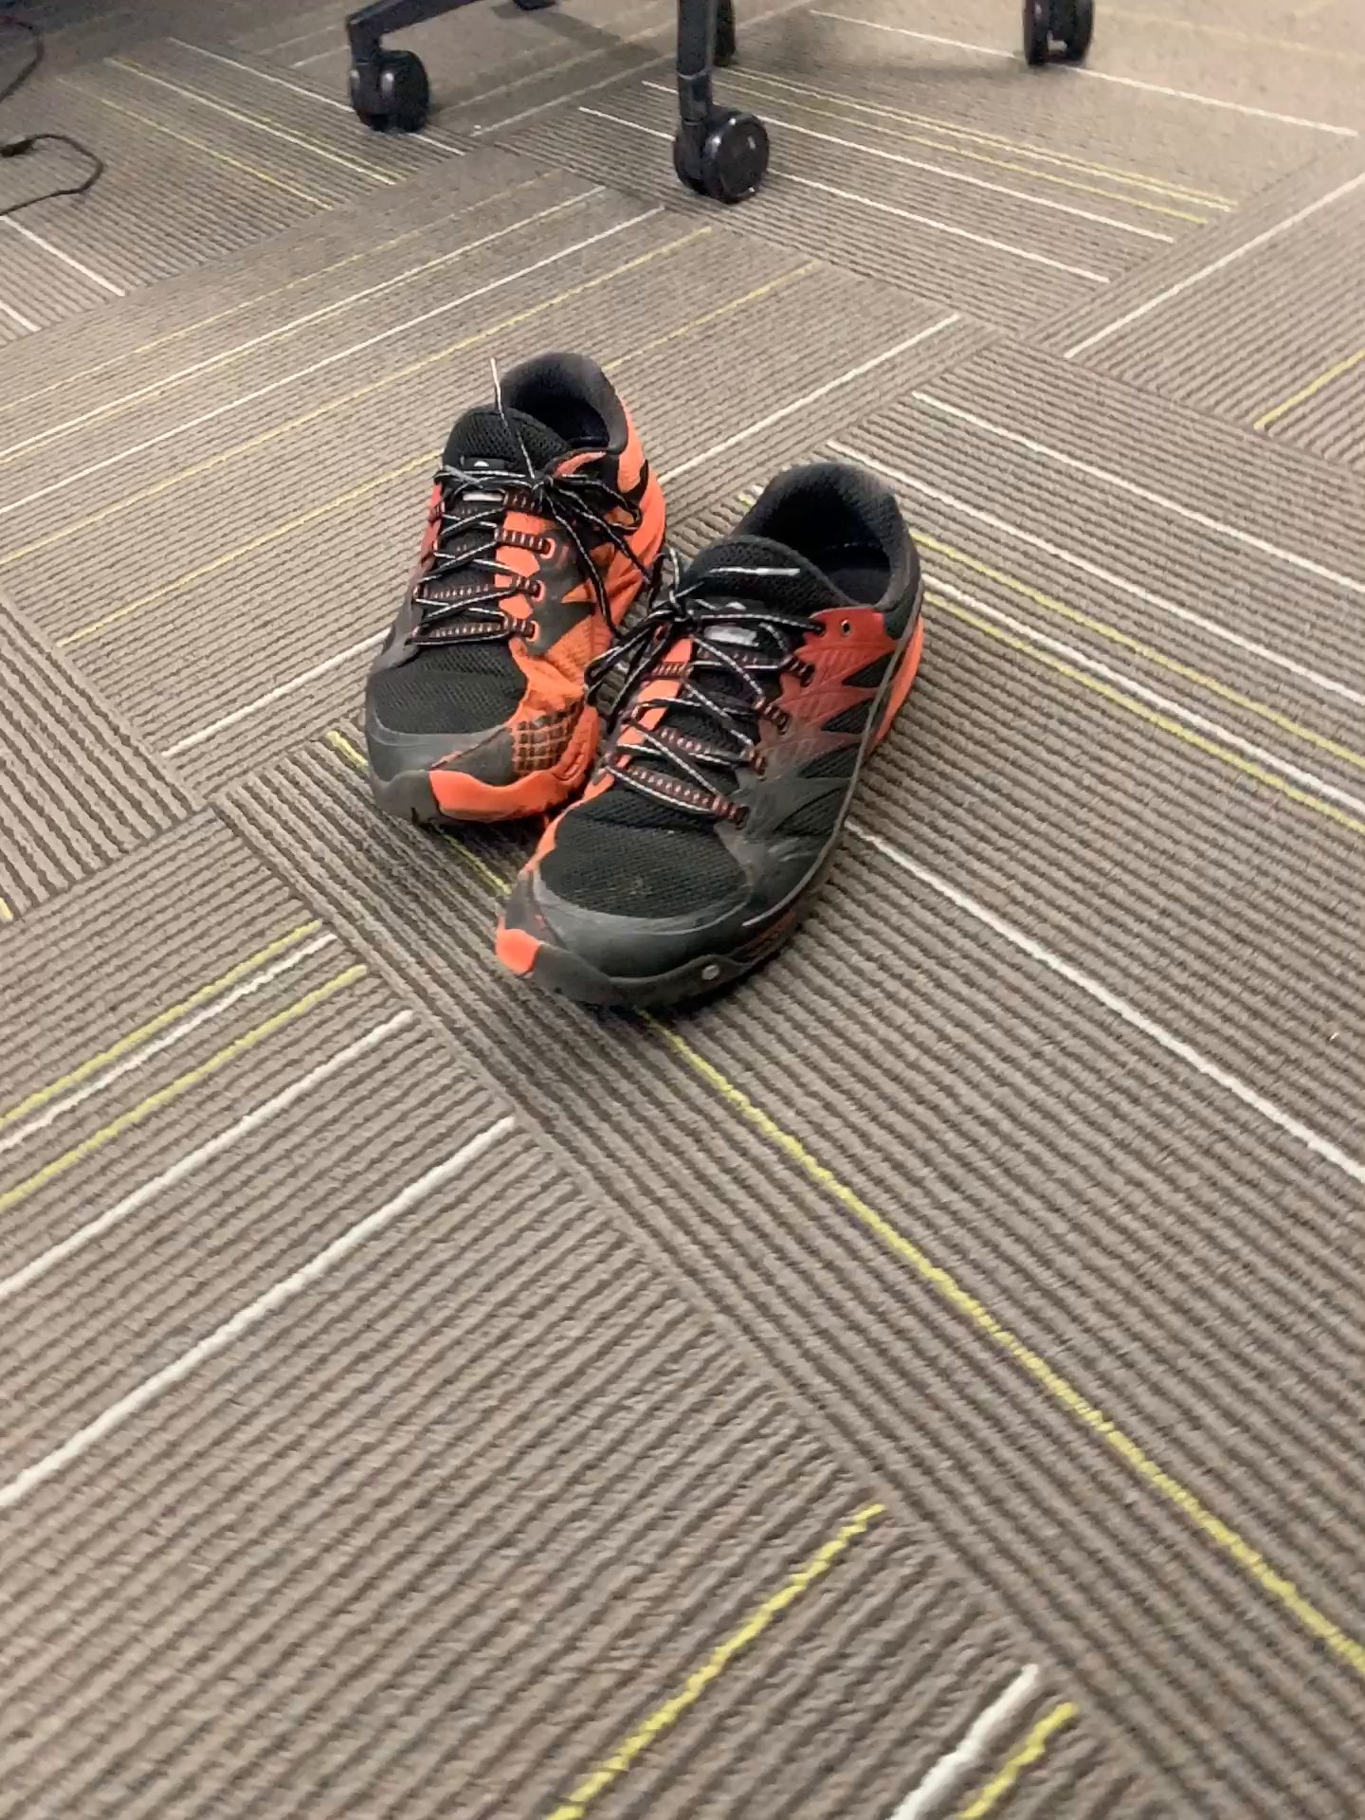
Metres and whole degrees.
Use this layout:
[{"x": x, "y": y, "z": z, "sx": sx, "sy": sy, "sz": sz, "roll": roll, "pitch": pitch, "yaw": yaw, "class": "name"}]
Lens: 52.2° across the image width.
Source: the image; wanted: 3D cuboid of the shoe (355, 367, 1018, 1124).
[{"x": 0.023, "y": -0.090, "z": 0.606, "sx": 0.130, "sy": 0.129, "sz": 0.321, "roll": 19, "pitch": 54, "yaw": 23, "class": "shoe"}]

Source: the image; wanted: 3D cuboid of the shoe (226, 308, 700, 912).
[{"x": -0.086, "y": -0.162, "z": 0.693, "sx": 0.130, "sy": 0.129, "sz": 0.311, "roll": 3, "pitch": 49, "yaw": 11, "class": "shoe"}]
